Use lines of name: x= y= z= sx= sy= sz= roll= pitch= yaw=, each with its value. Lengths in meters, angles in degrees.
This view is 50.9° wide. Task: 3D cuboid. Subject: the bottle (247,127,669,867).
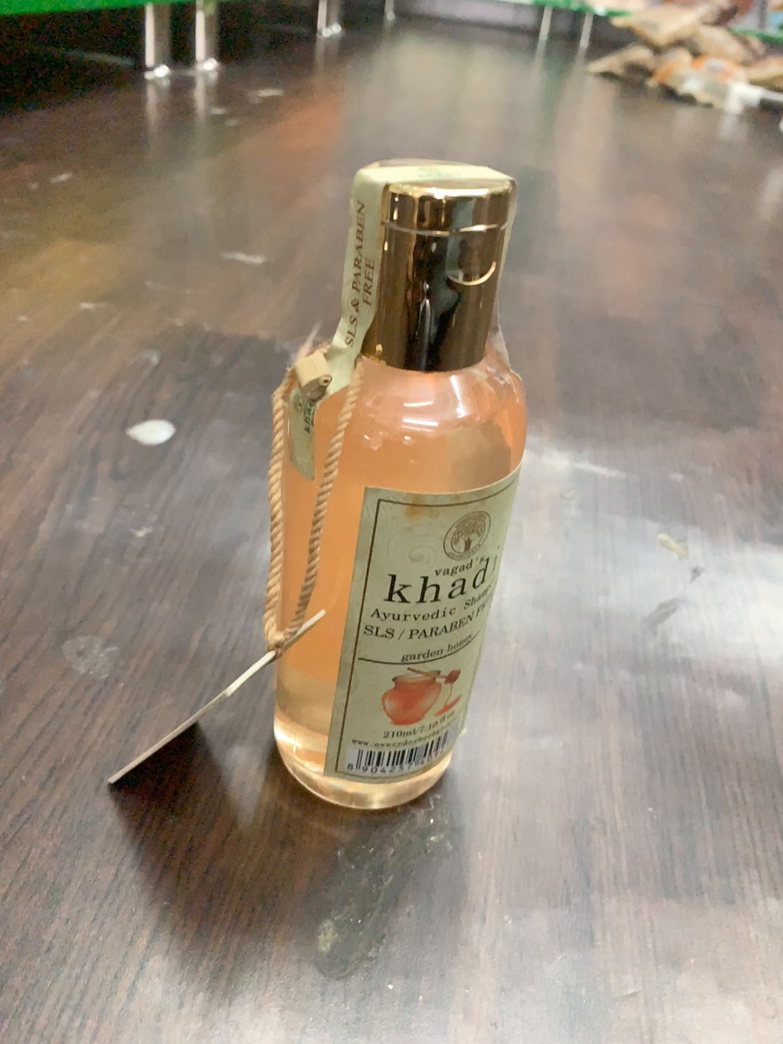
bottle: x=0.003 y=0.001 z=0.180 sx=0.050 sy=0.149 sz=0.050 roll=5 pitch=34 yaw=-4
